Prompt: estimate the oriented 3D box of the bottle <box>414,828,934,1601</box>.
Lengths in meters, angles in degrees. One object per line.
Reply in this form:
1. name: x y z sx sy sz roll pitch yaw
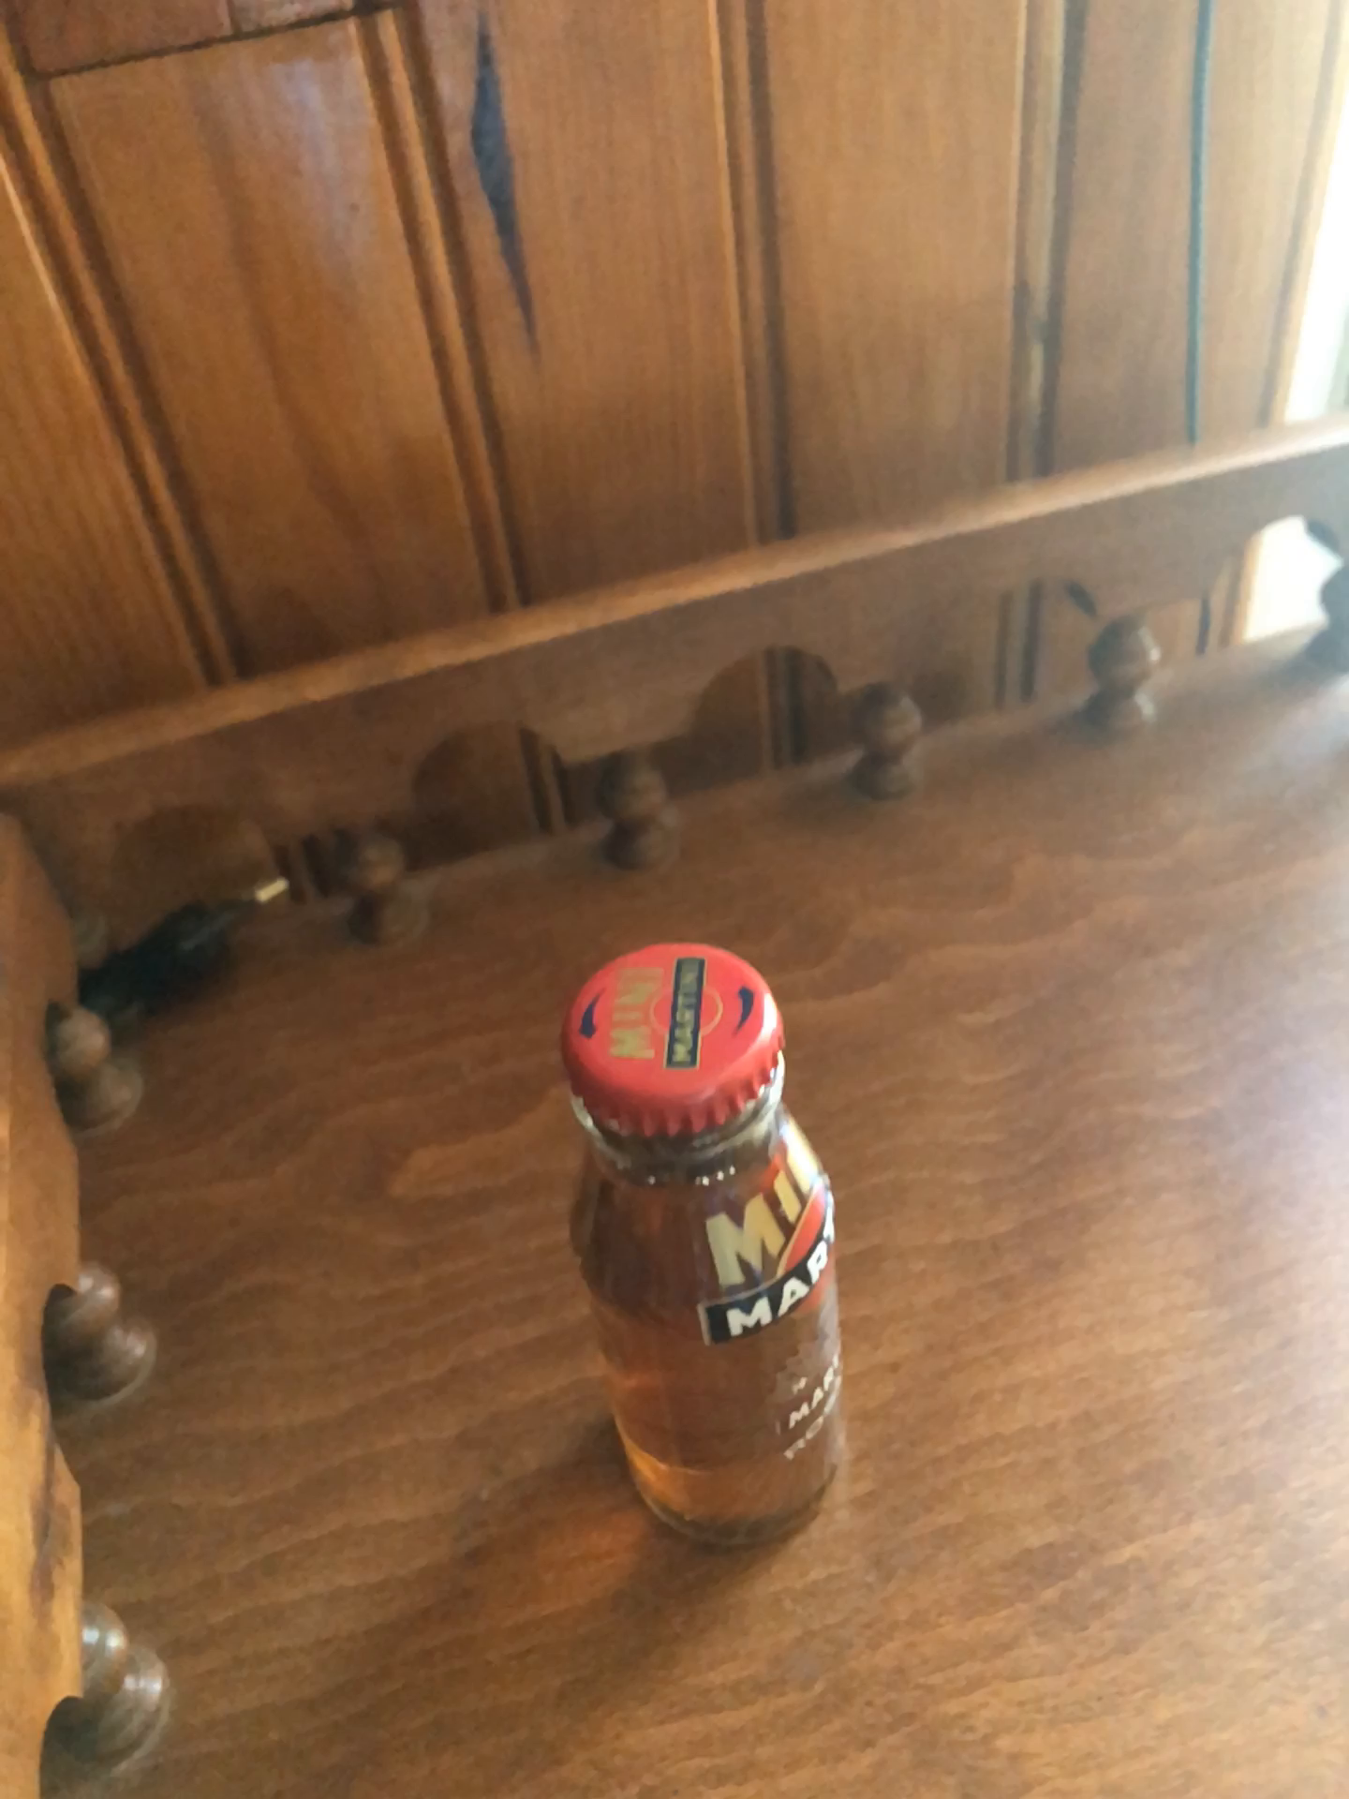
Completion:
1. bottle: 0.006 0.052 0.233 0.050 0.109 0.050 -4 44 4
